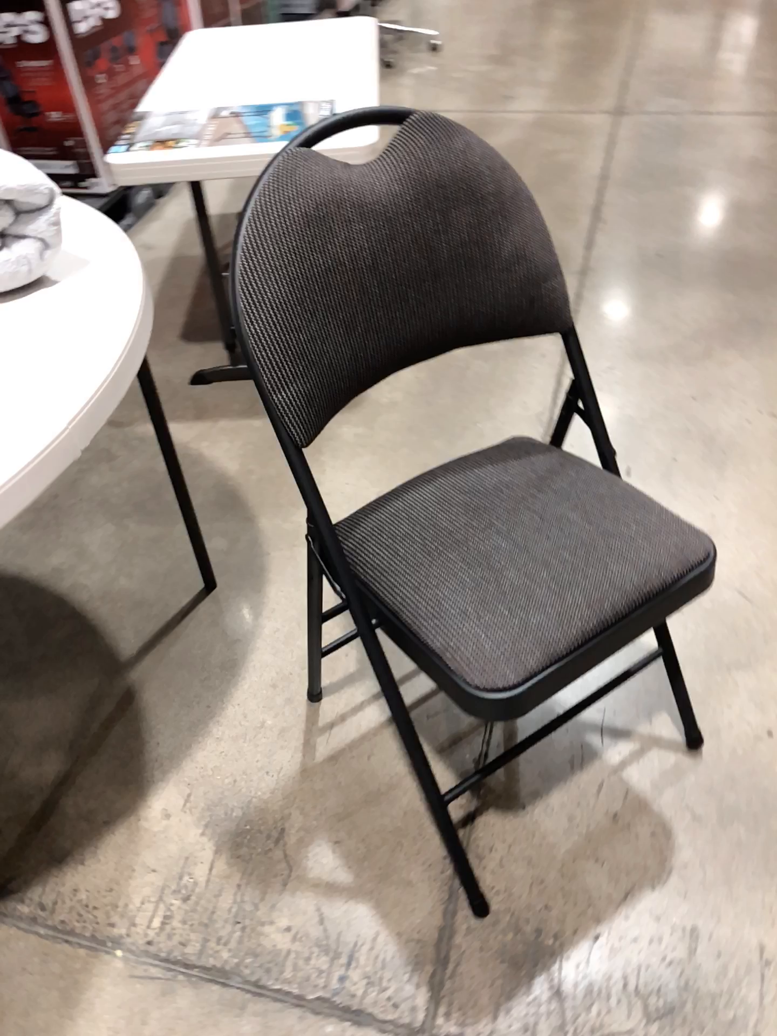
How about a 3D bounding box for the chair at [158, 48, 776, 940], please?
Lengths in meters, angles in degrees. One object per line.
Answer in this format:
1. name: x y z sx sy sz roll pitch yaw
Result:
1. chair: 0.147 -0.029 1.097 0.510 0.857 0.562 -25 45 -22
